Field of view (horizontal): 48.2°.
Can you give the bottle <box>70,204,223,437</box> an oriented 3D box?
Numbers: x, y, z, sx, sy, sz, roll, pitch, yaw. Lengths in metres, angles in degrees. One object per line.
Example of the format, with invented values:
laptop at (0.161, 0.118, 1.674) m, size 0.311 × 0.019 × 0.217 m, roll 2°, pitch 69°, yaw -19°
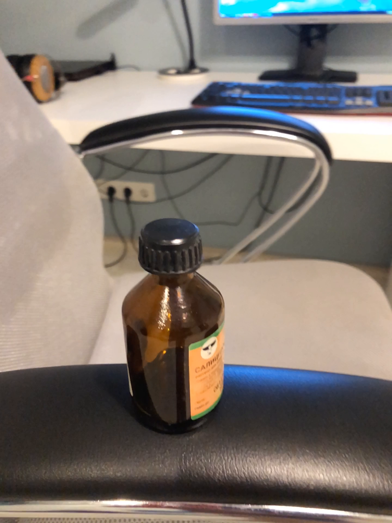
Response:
bottle at (-0.015, 0.025, 0.186) m, size 0.050 × 0.083 × 0.050 m, roll -2°, pitch 31°, yaw 1°
